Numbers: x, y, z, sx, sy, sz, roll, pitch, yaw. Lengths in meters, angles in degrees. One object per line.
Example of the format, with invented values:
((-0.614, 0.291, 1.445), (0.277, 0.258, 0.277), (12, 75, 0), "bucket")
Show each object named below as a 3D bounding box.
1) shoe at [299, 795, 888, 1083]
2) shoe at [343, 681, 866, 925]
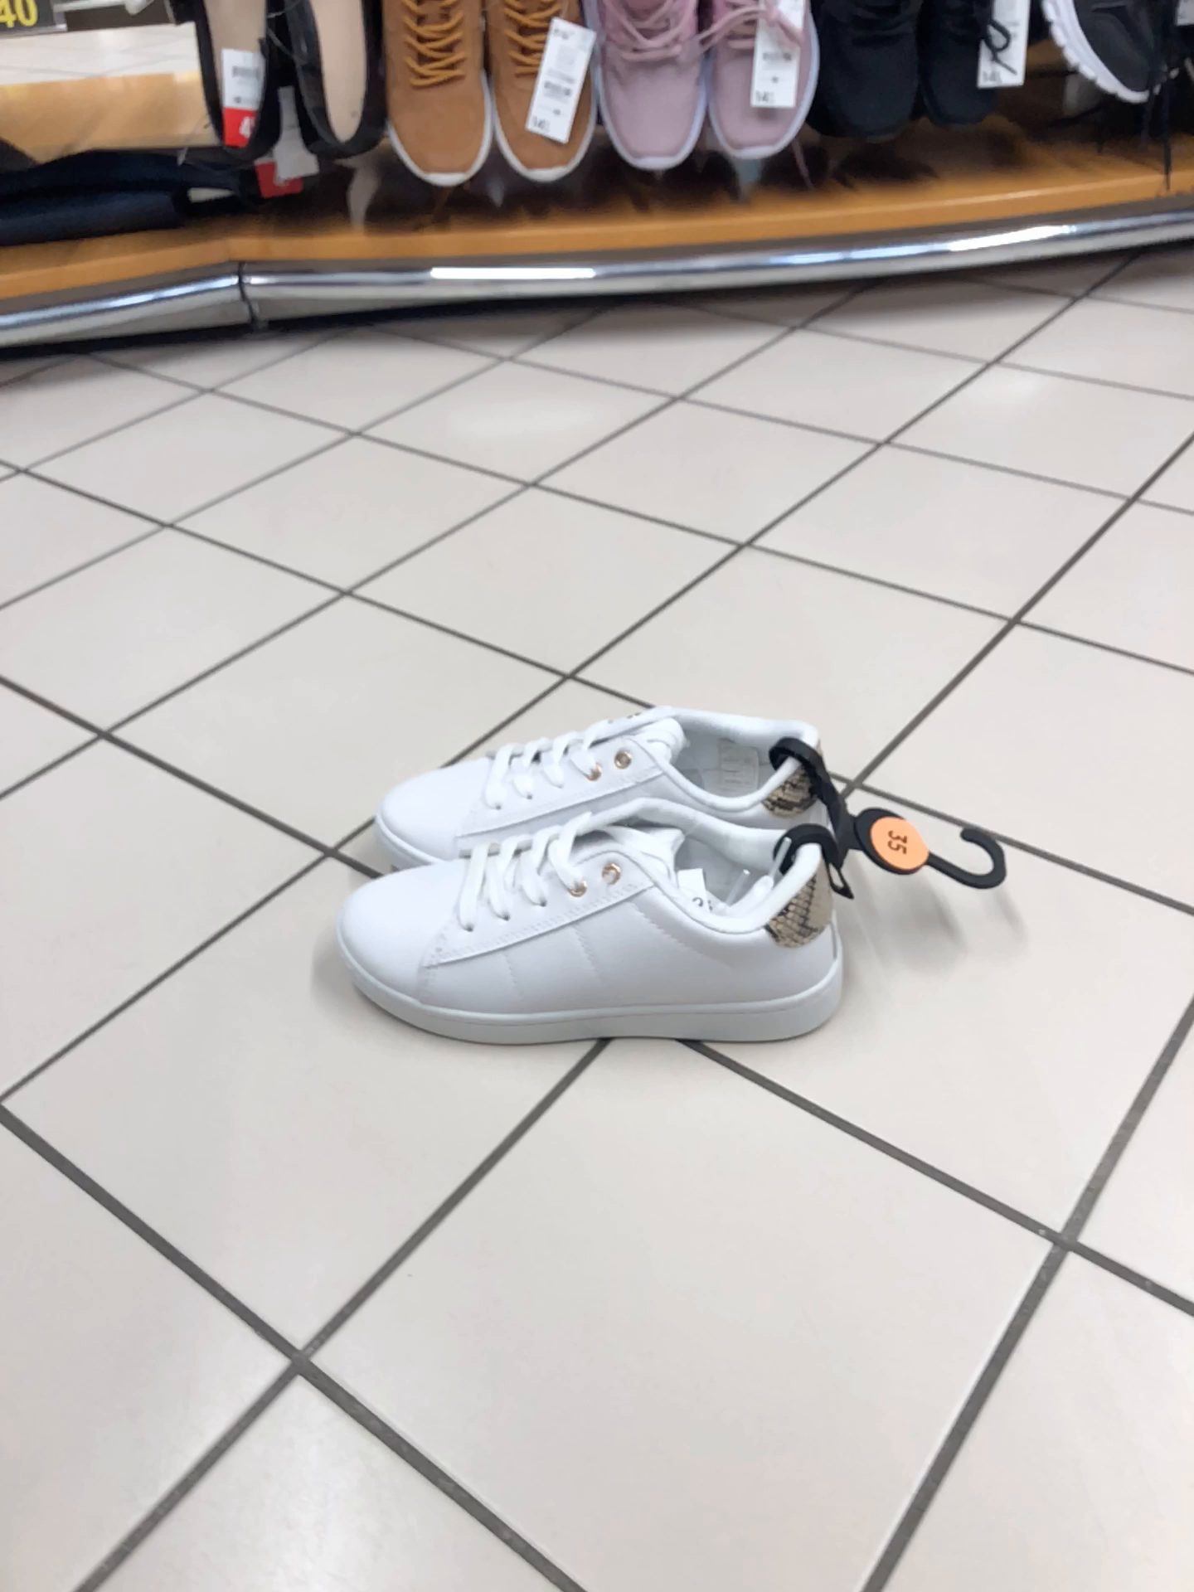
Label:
((0.003, 0.061, 0.593), (0.240, 0.080, 0.091), (1, 38, 7), "shoe")
((0.007, 0.003, 0.663), (0.240, 0.080, 0.091), (-1, 38, 5), "shoe")
